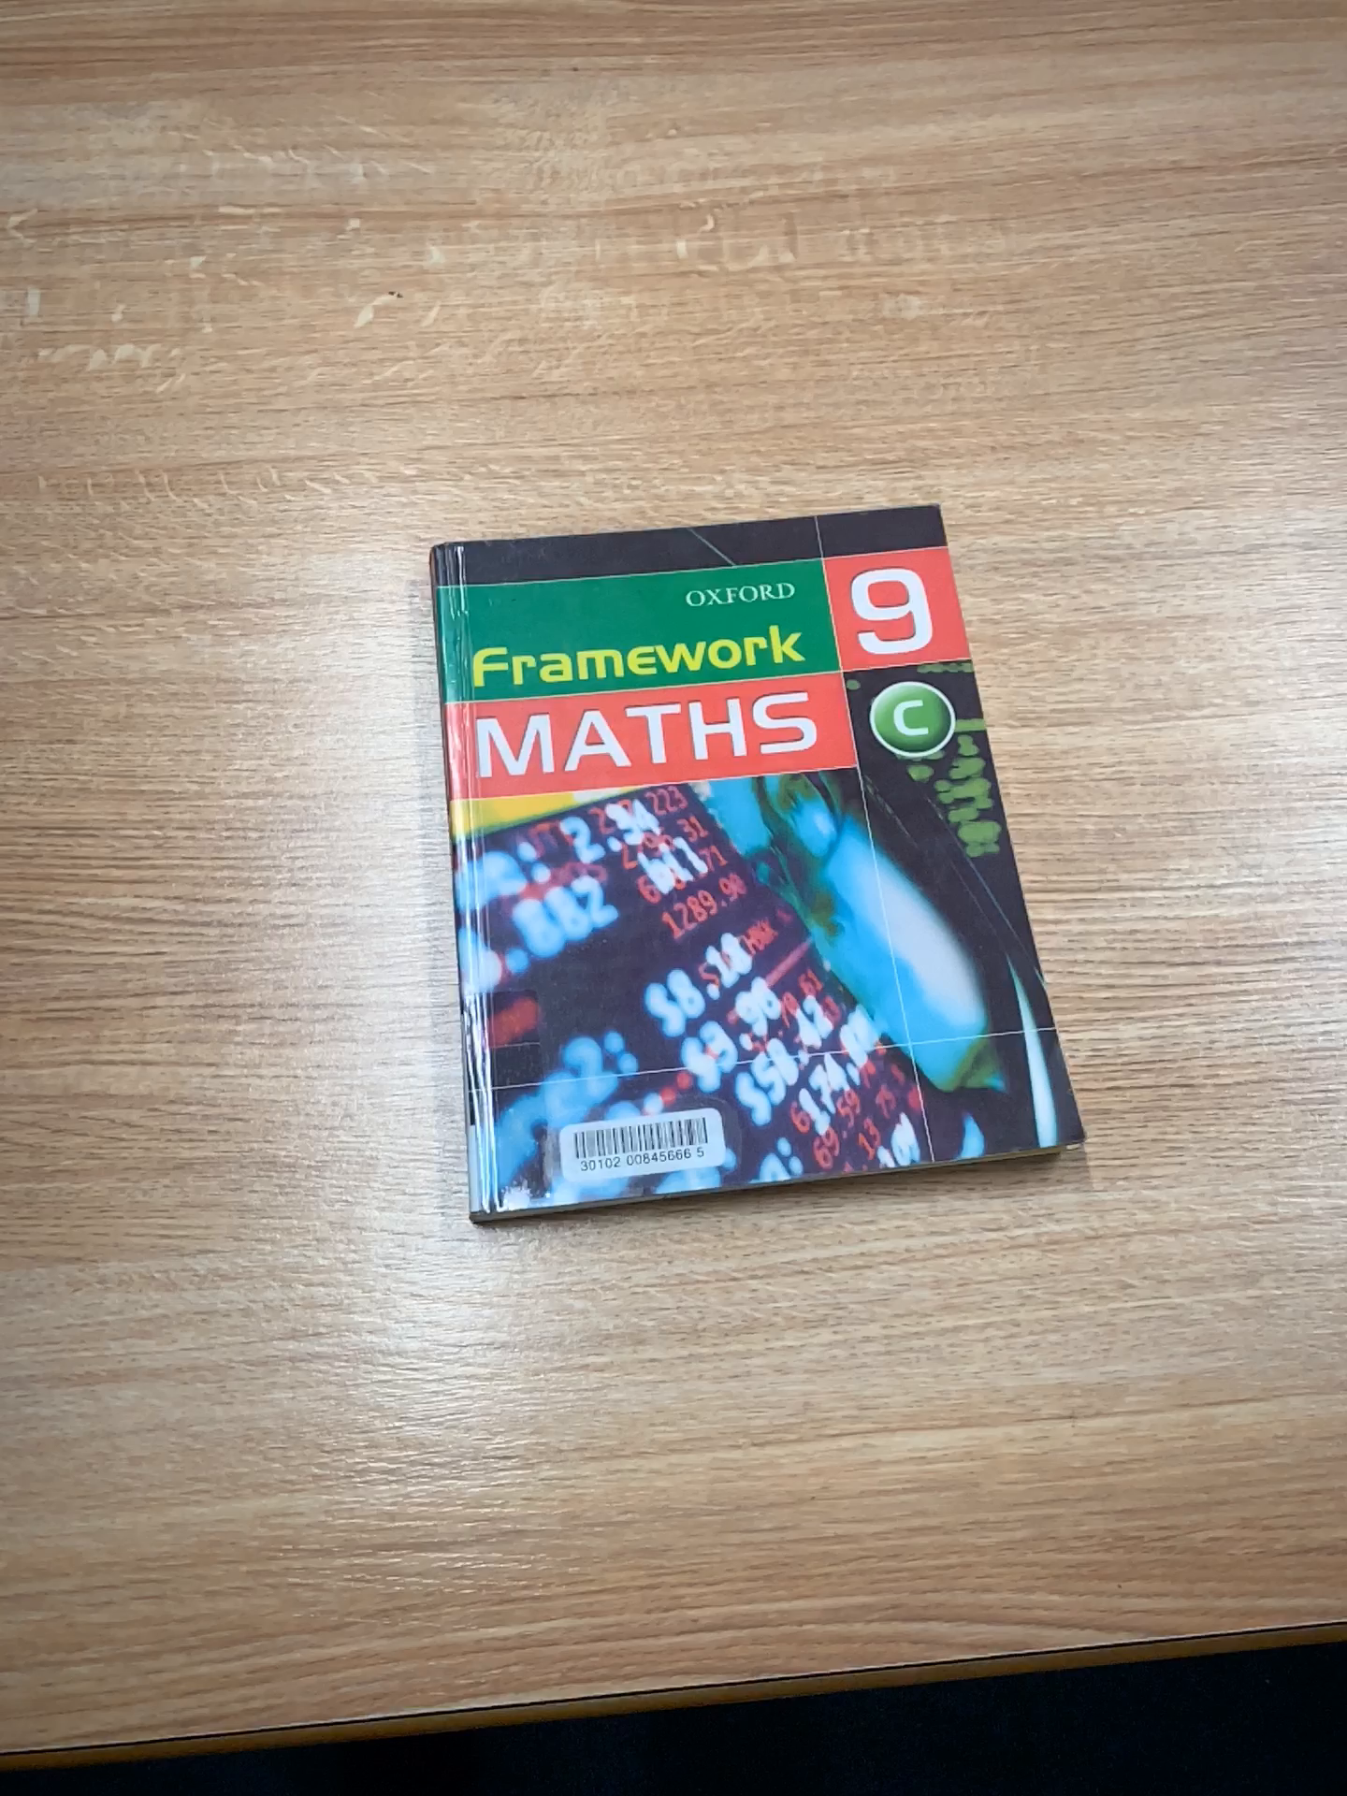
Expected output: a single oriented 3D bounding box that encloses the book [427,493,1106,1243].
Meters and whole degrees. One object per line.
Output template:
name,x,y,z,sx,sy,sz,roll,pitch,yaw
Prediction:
book,0.021,-0.021,0.461,0.190,0.020,0.244,-6,69,-5
